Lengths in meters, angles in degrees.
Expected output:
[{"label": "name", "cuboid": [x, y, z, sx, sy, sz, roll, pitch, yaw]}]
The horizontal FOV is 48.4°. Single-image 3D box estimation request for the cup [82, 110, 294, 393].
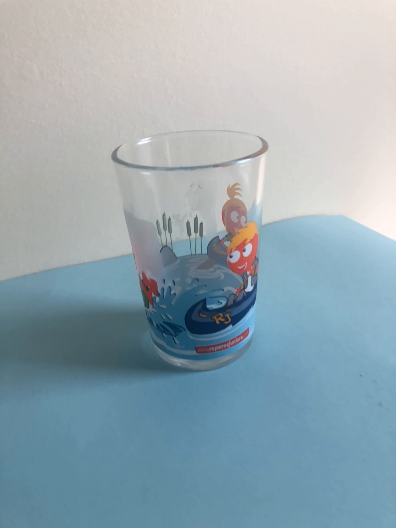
[{"label": "cup", "cuboid": [-0.001, -0.010, 0.199, 0.060, 0.099, 0.060, -3, 28, 2]}]
